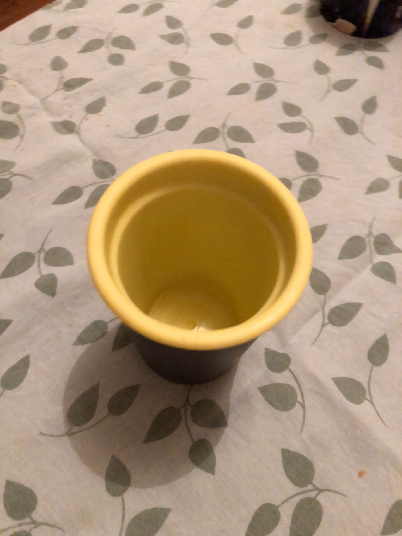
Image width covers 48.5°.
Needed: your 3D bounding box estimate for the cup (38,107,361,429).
[{"bbox_3d":[-0.005,0.008,0.216,0.090,0.110,0.090,1,64,-2],"label":"cup"}]
